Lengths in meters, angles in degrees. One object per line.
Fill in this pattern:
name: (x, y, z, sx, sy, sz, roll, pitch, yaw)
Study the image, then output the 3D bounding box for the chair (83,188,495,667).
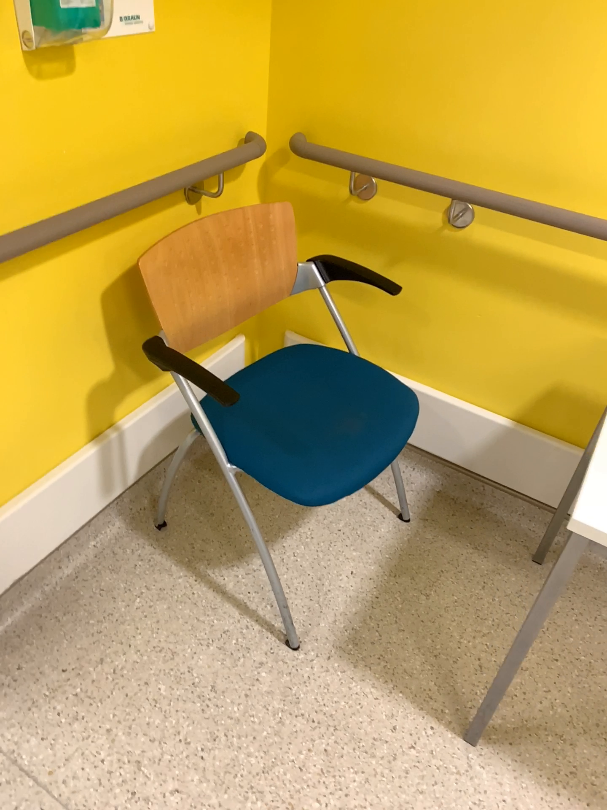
chair: (-0.040, 0.020, 1.462, 0.591, 0.779, 0.574, 30, 44, 29)
